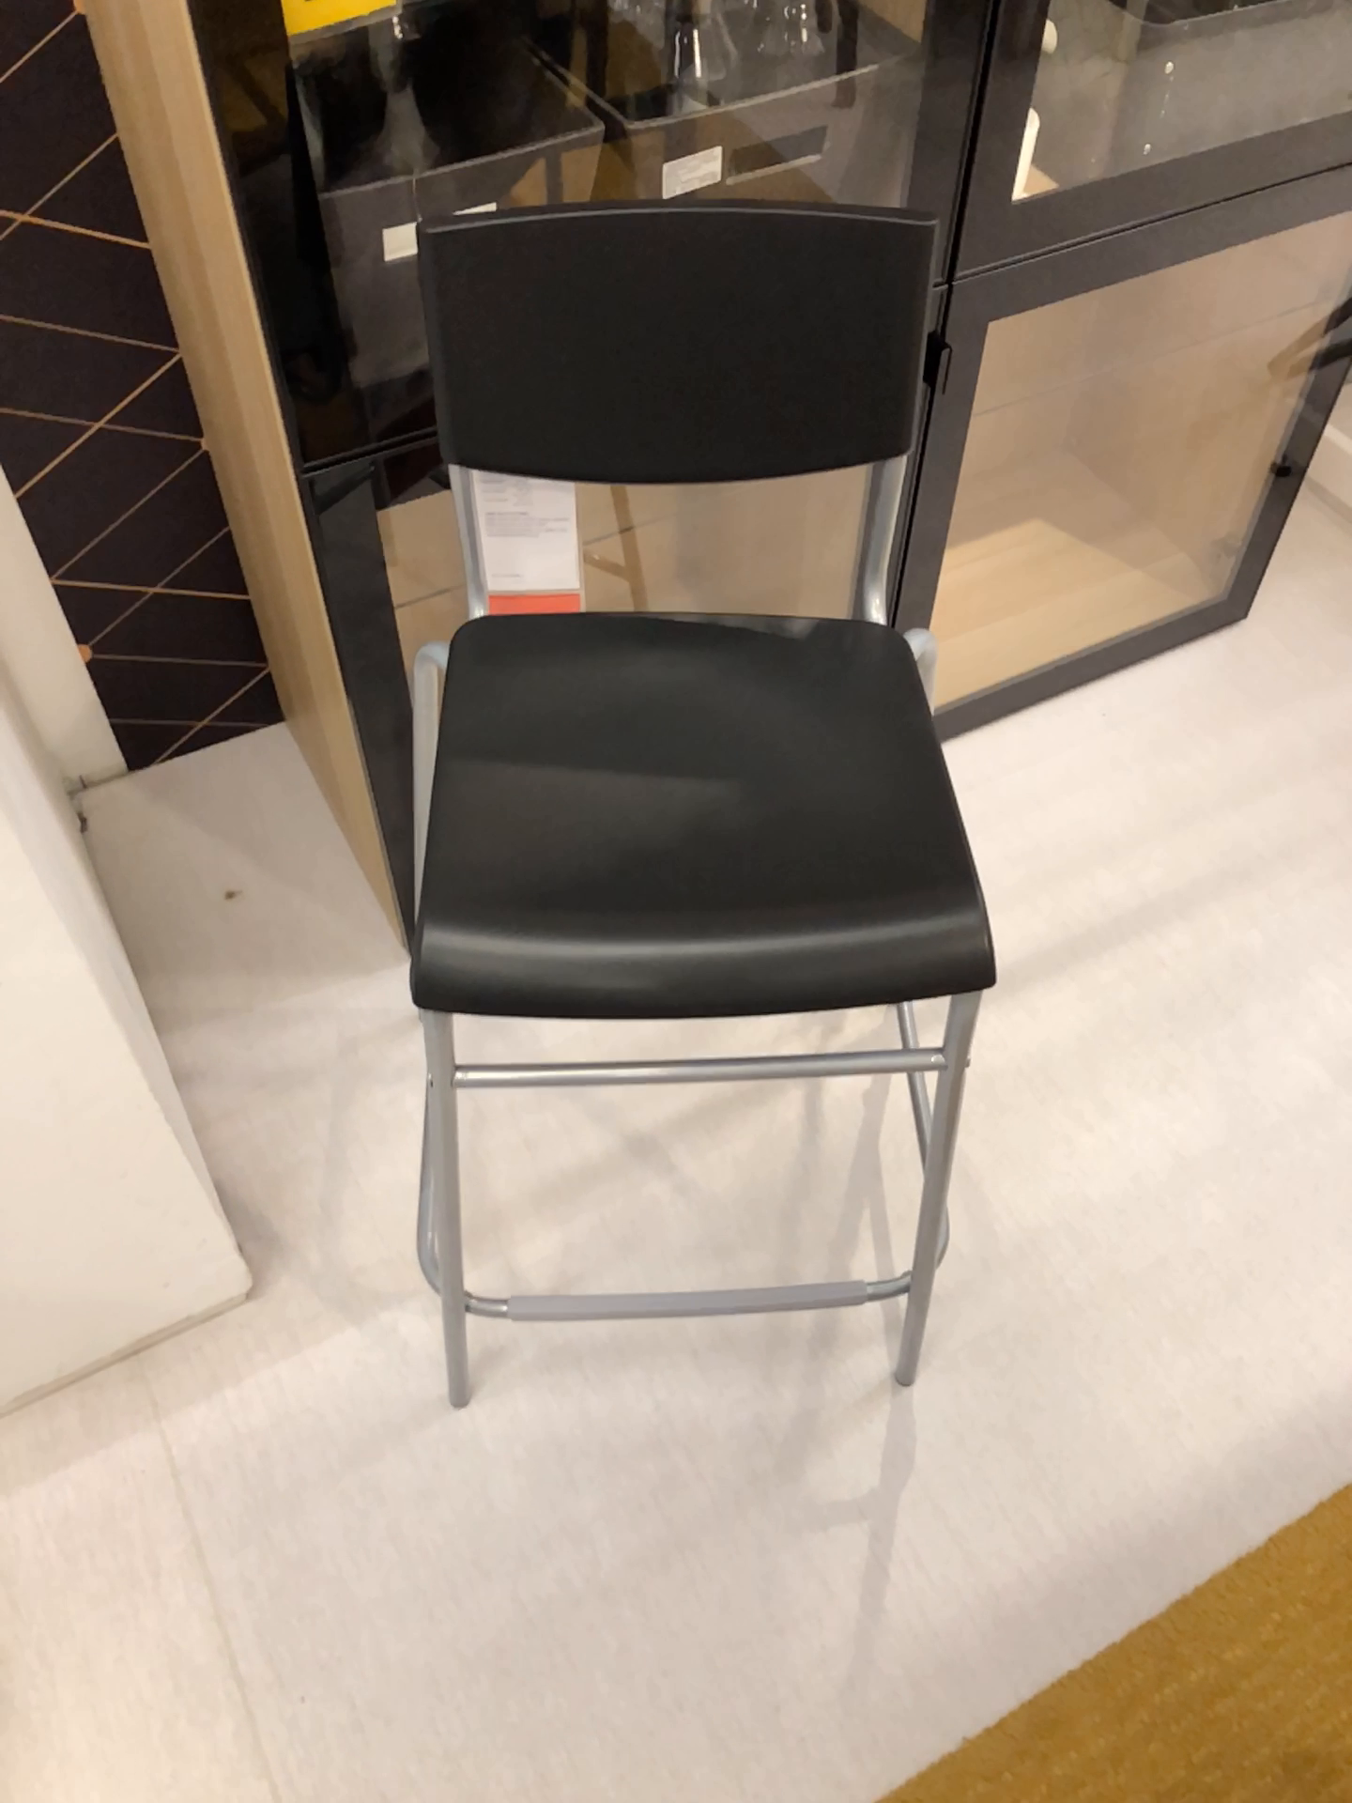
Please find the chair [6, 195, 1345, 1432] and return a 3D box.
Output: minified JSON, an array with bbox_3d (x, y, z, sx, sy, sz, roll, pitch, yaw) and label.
[{"bbox_3d":[-0.007,0.000,1.049,0.540,0.765,0.483,-1,52,-1],"label":"chair"}]
